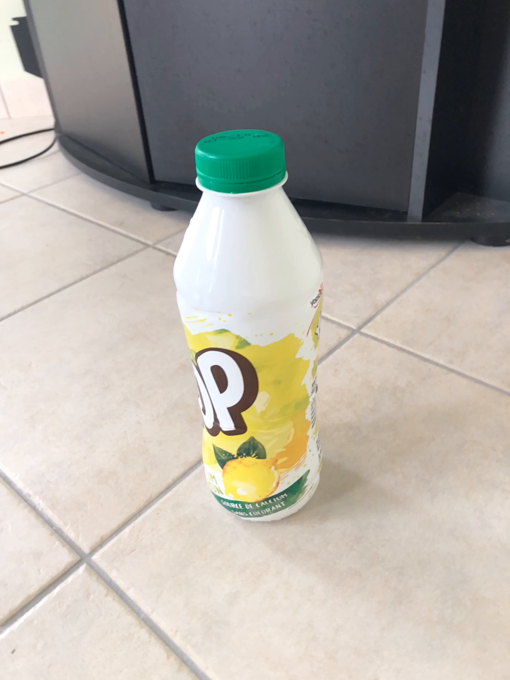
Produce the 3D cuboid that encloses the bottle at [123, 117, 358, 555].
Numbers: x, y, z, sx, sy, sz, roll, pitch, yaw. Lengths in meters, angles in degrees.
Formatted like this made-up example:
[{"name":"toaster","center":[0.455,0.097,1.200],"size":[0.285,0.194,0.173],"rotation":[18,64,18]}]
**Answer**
[{"name":"bottle","center":[-0.001,0.007,0.323],"size":[0.080,0.229,0.080],"rotation":[-3,36,2]}]
